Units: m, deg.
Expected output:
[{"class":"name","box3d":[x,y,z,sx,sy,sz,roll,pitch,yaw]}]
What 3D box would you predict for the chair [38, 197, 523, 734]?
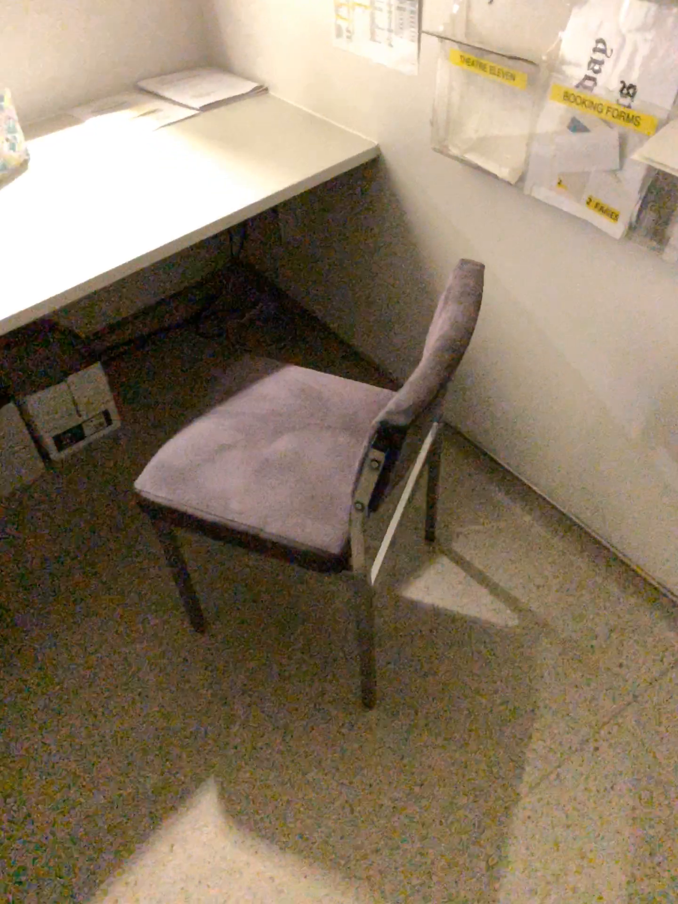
[{"class":"chair","box3d":[-0.037,0.013,1.255,0.541,0.693,0.544,14,46,18]}]
